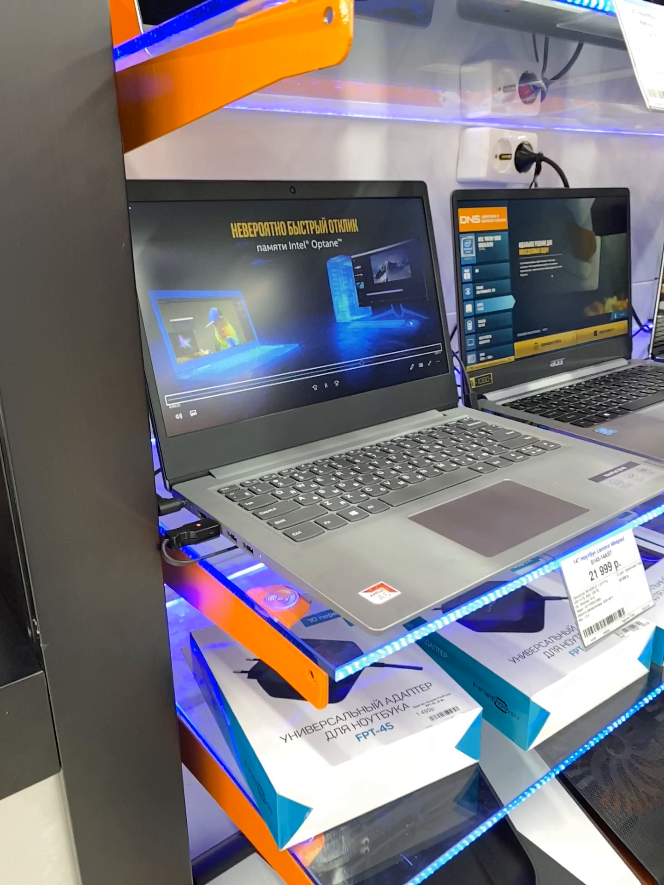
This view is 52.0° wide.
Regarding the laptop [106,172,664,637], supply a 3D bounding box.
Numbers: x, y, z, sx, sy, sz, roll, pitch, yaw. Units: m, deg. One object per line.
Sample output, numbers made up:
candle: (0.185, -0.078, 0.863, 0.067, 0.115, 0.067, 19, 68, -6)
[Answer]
laptop: (0.058, -0.081, 0.509, 0.327, 0.215, 0.303, -15, 24, -35)
